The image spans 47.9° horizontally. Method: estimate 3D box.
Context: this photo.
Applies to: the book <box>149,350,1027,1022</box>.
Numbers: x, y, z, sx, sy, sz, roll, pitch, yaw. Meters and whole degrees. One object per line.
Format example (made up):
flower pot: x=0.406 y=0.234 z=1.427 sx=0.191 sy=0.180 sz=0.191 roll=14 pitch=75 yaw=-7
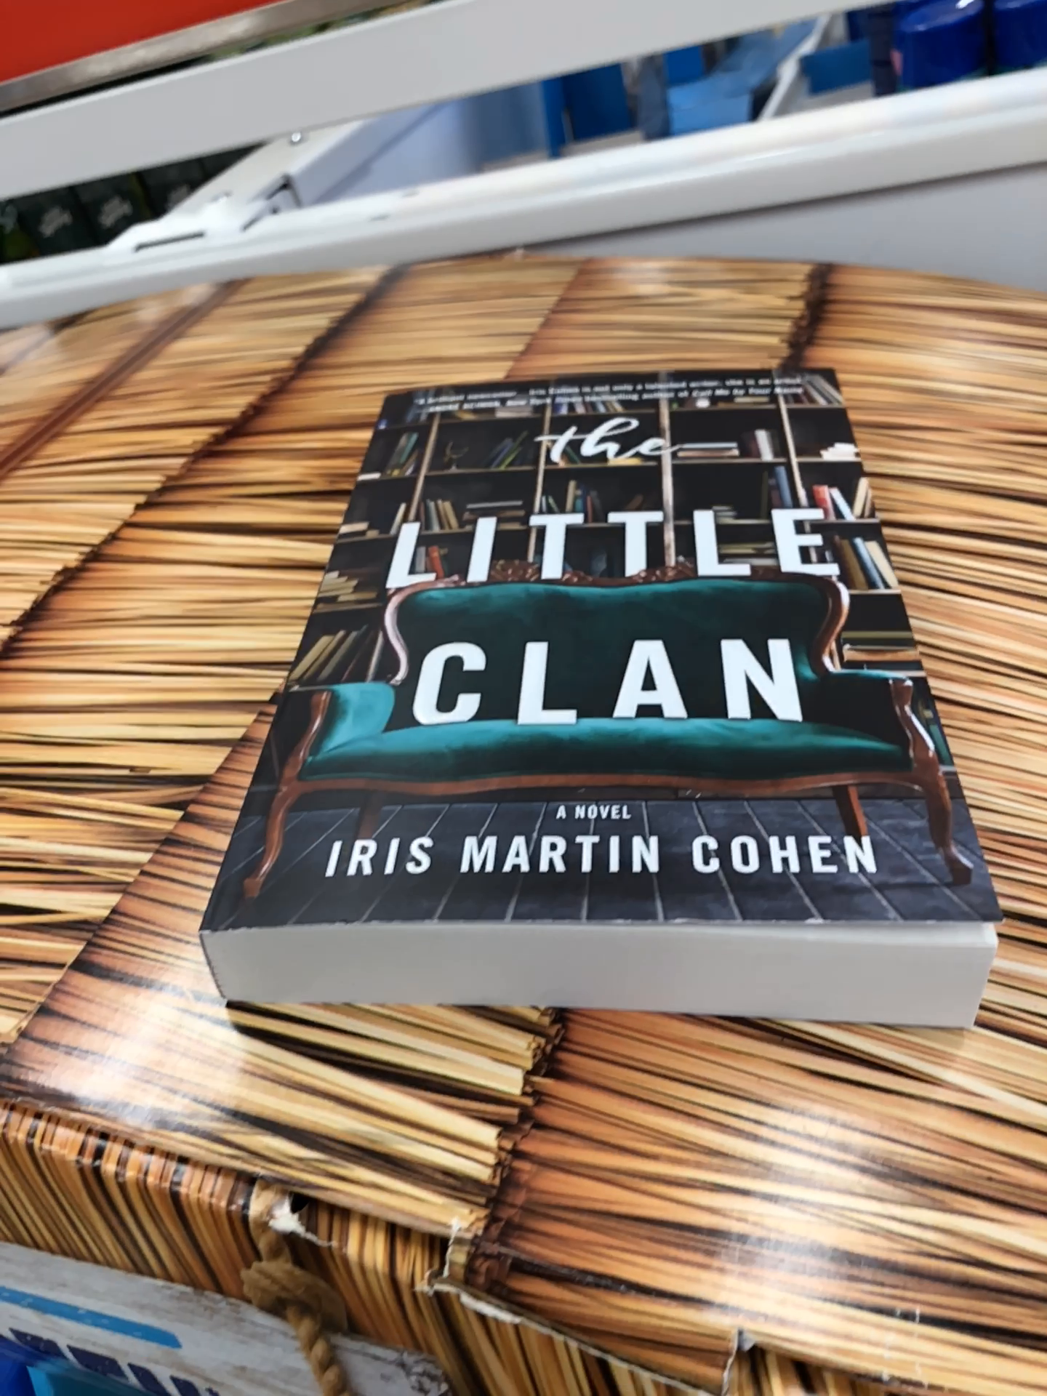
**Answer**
book: x=0.016 y=-0.020 z=0.257 sx=0.130 sy=0.030 sz=0.191 roll=-1 pitch=39 yaw=7
